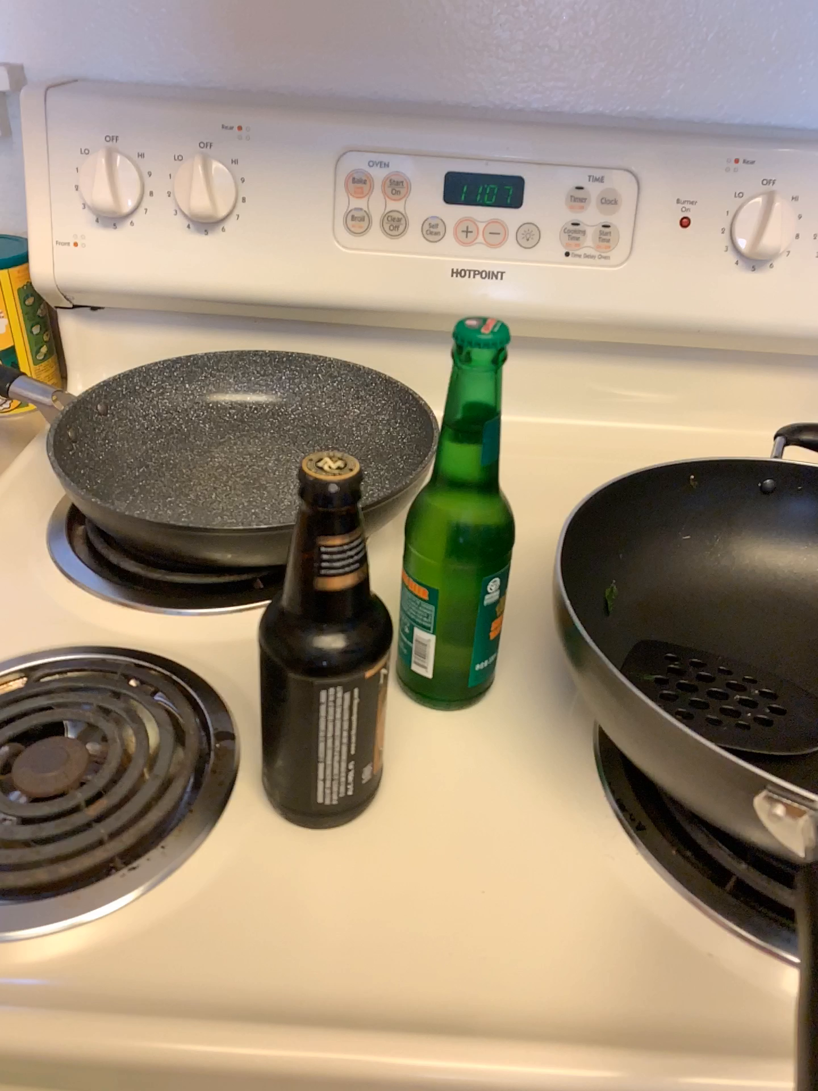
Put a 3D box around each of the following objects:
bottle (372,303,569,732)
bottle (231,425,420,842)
[{"bbox_3d":[0.026,-0.009,0.435,0.060,0.209,0.060,2,33,-2],"label":"bottle"},{"bbox_3d":[-0.040,0.046,0.391,0.070,0.189,0.070,2,33,-2],"label":"bottle"}]
